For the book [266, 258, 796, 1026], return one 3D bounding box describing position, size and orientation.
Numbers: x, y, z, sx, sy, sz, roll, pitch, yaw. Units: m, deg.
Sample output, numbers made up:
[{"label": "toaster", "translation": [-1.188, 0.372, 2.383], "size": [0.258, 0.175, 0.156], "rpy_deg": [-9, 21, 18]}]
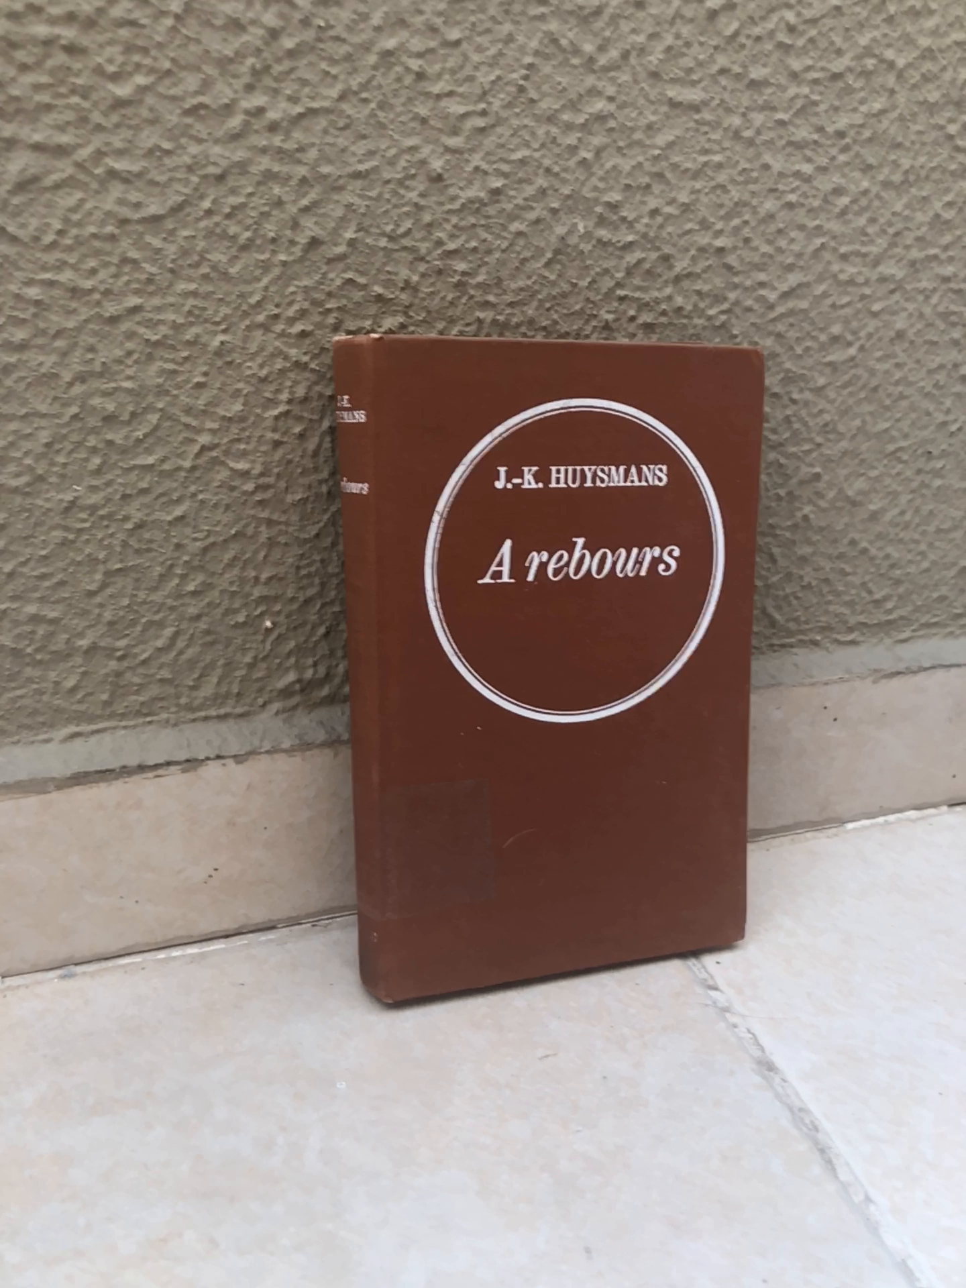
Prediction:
[{"label": "book", "translation": [0.018, -0.004, 0.329], "size": [0.150, 0.209, 0.040], "rpy_deg": [-5, 10, -17]}]
